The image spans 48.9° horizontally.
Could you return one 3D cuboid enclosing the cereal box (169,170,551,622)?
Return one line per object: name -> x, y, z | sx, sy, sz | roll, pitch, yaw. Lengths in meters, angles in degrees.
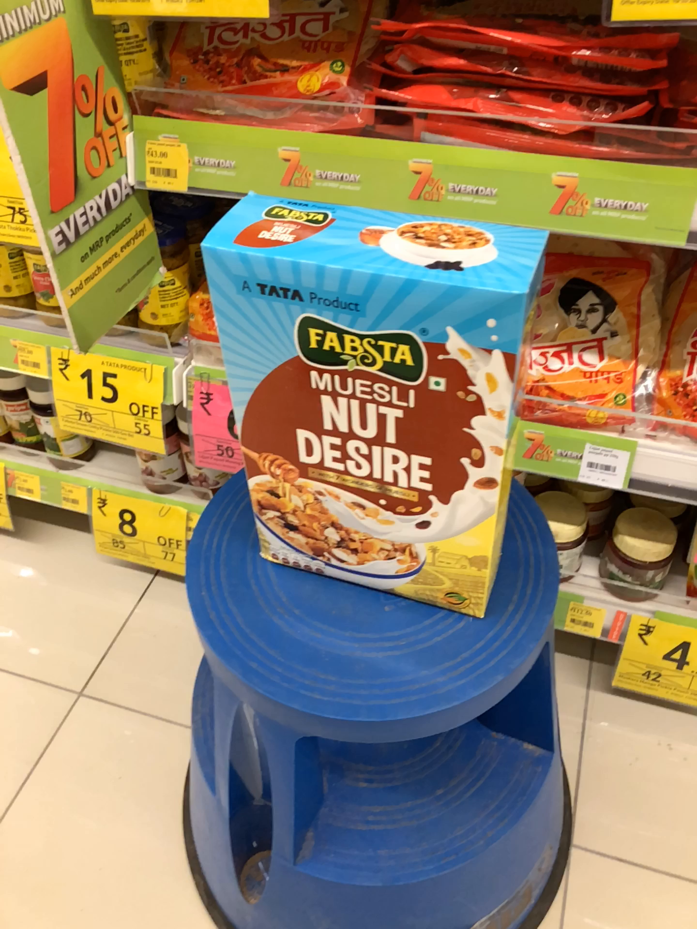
cereal box -> 0.011, -0.029, 0.453 | 0.170, 0.248, 0.070 | 12, 46, 15
